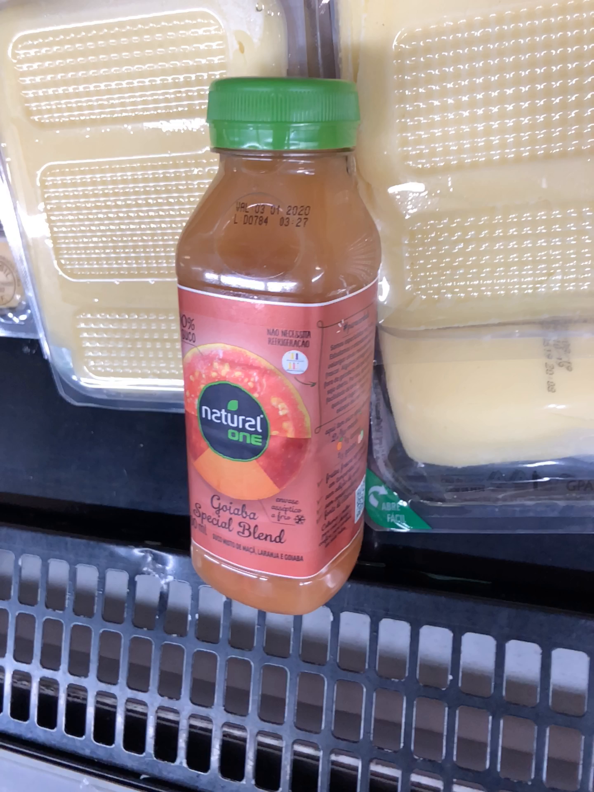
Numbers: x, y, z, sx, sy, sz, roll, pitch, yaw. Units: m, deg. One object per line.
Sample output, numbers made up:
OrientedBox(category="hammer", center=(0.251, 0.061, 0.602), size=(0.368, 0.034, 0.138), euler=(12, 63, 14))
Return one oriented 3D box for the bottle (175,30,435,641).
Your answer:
OrientedBox(category="bottle", center=(0.002, -0.019, 0.234), size=(0.060, 0.070, 0.180), euler=(9, 108, 19))
